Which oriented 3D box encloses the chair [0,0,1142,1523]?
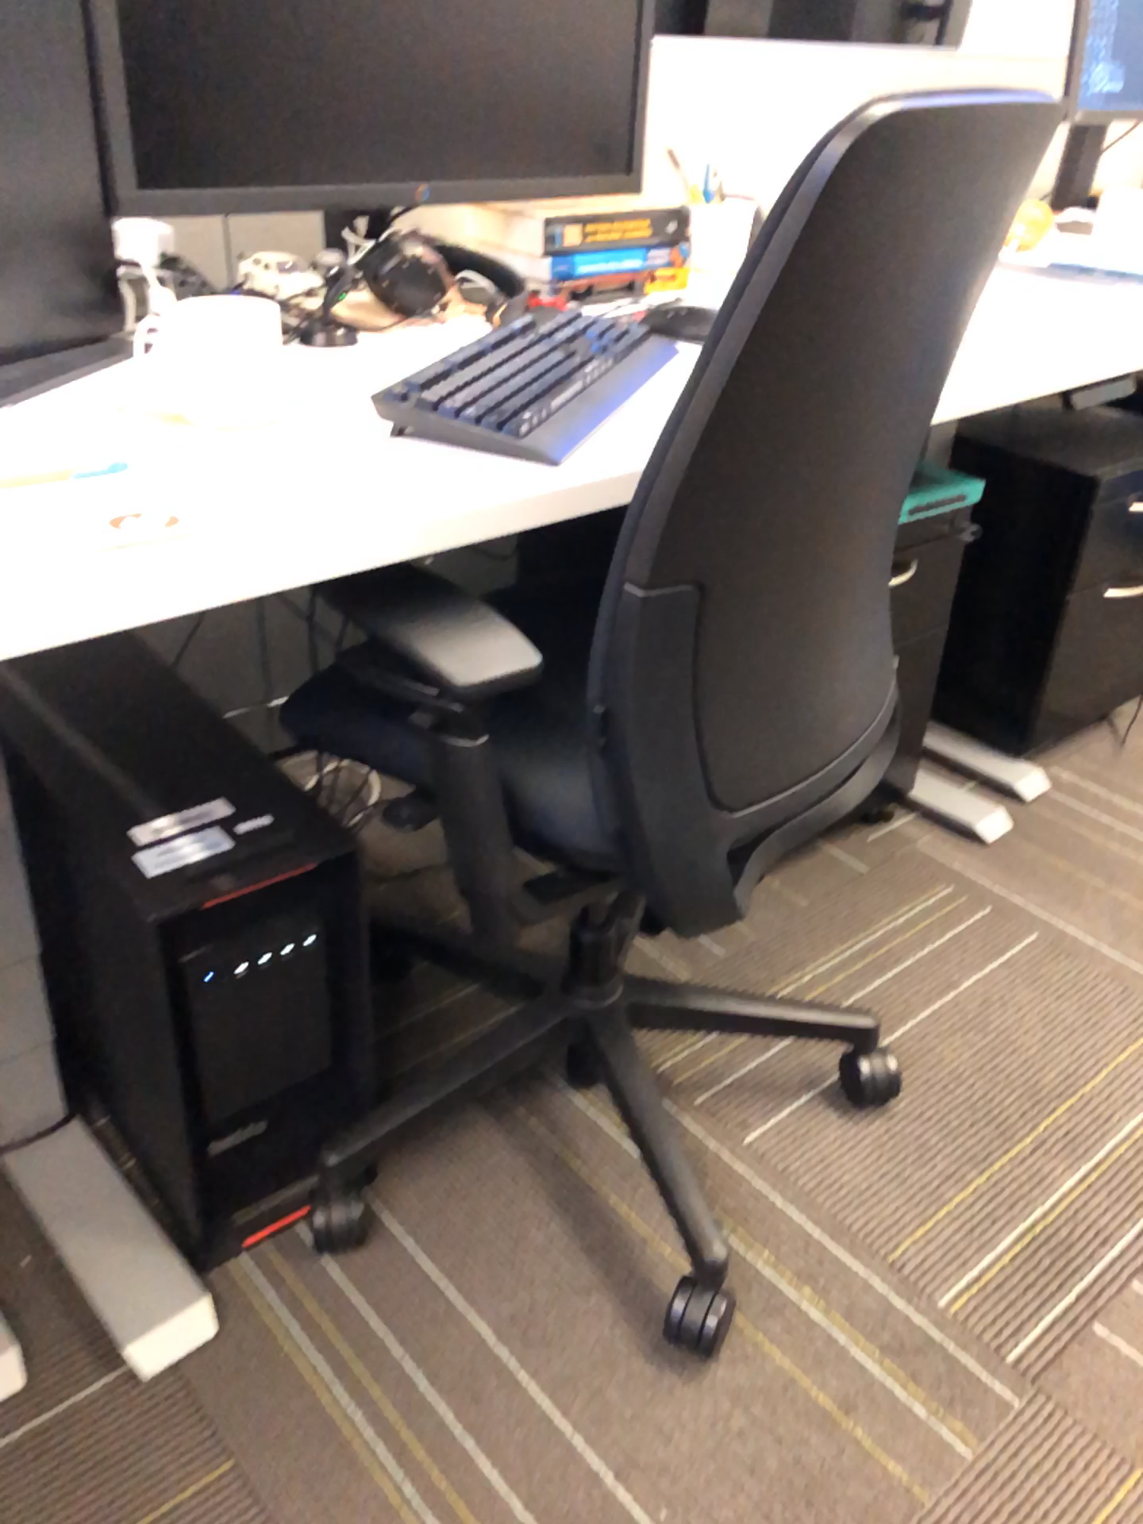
[{"bbox_3d":[0.092,-0.055,1.099,0.782,1.014,0.662,-22,39,-36],"label":"chair"}]
